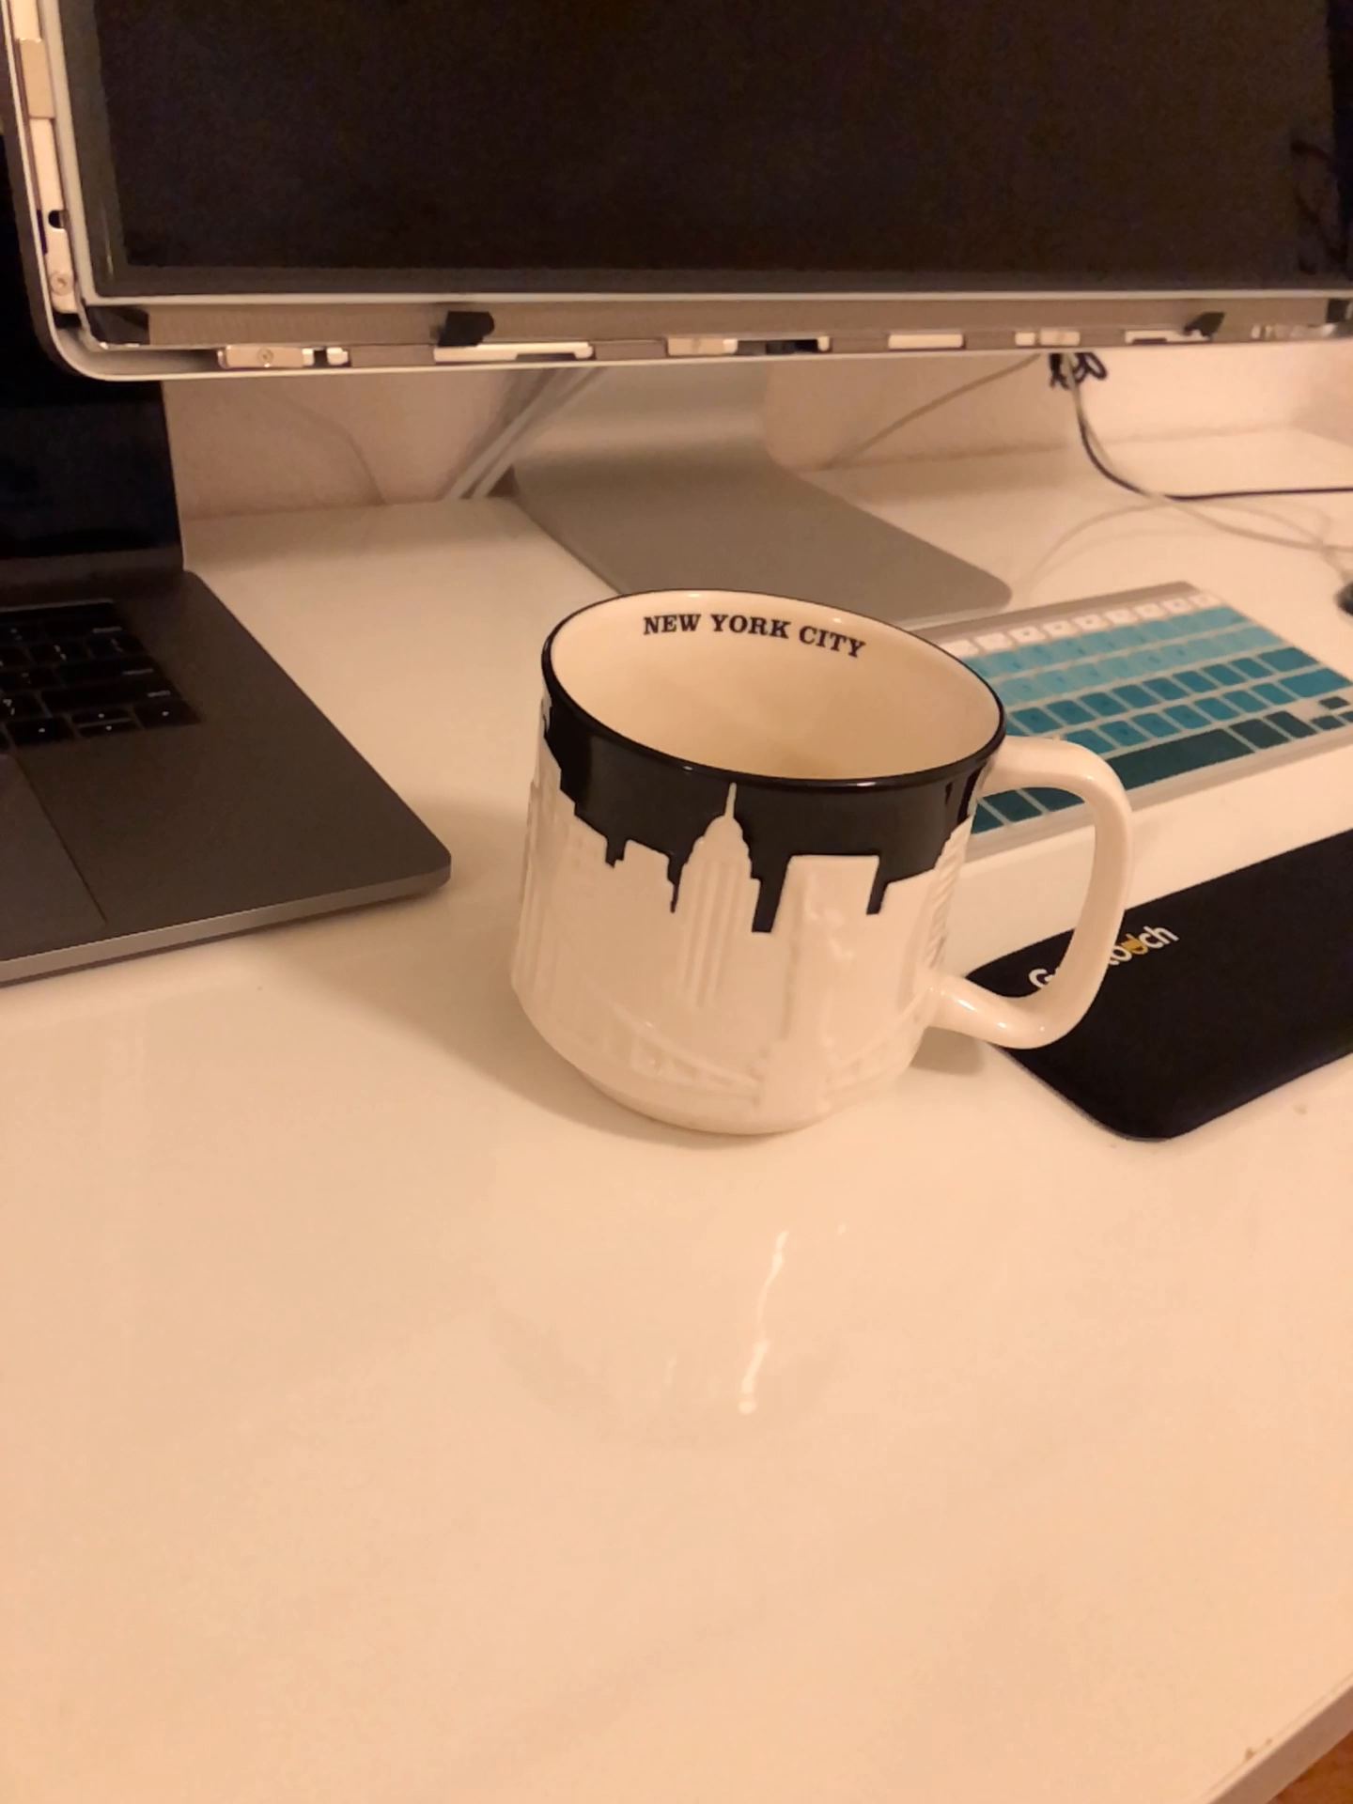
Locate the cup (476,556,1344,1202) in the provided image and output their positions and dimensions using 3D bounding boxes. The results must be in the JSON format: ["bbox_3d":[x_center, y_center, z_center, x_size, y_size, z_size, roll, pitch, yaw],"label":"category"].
[{"bbox_3d":[0.042,-0.009,0.349,0.160,0.089,0.111,6,32,-4],"label":"cup"}]
